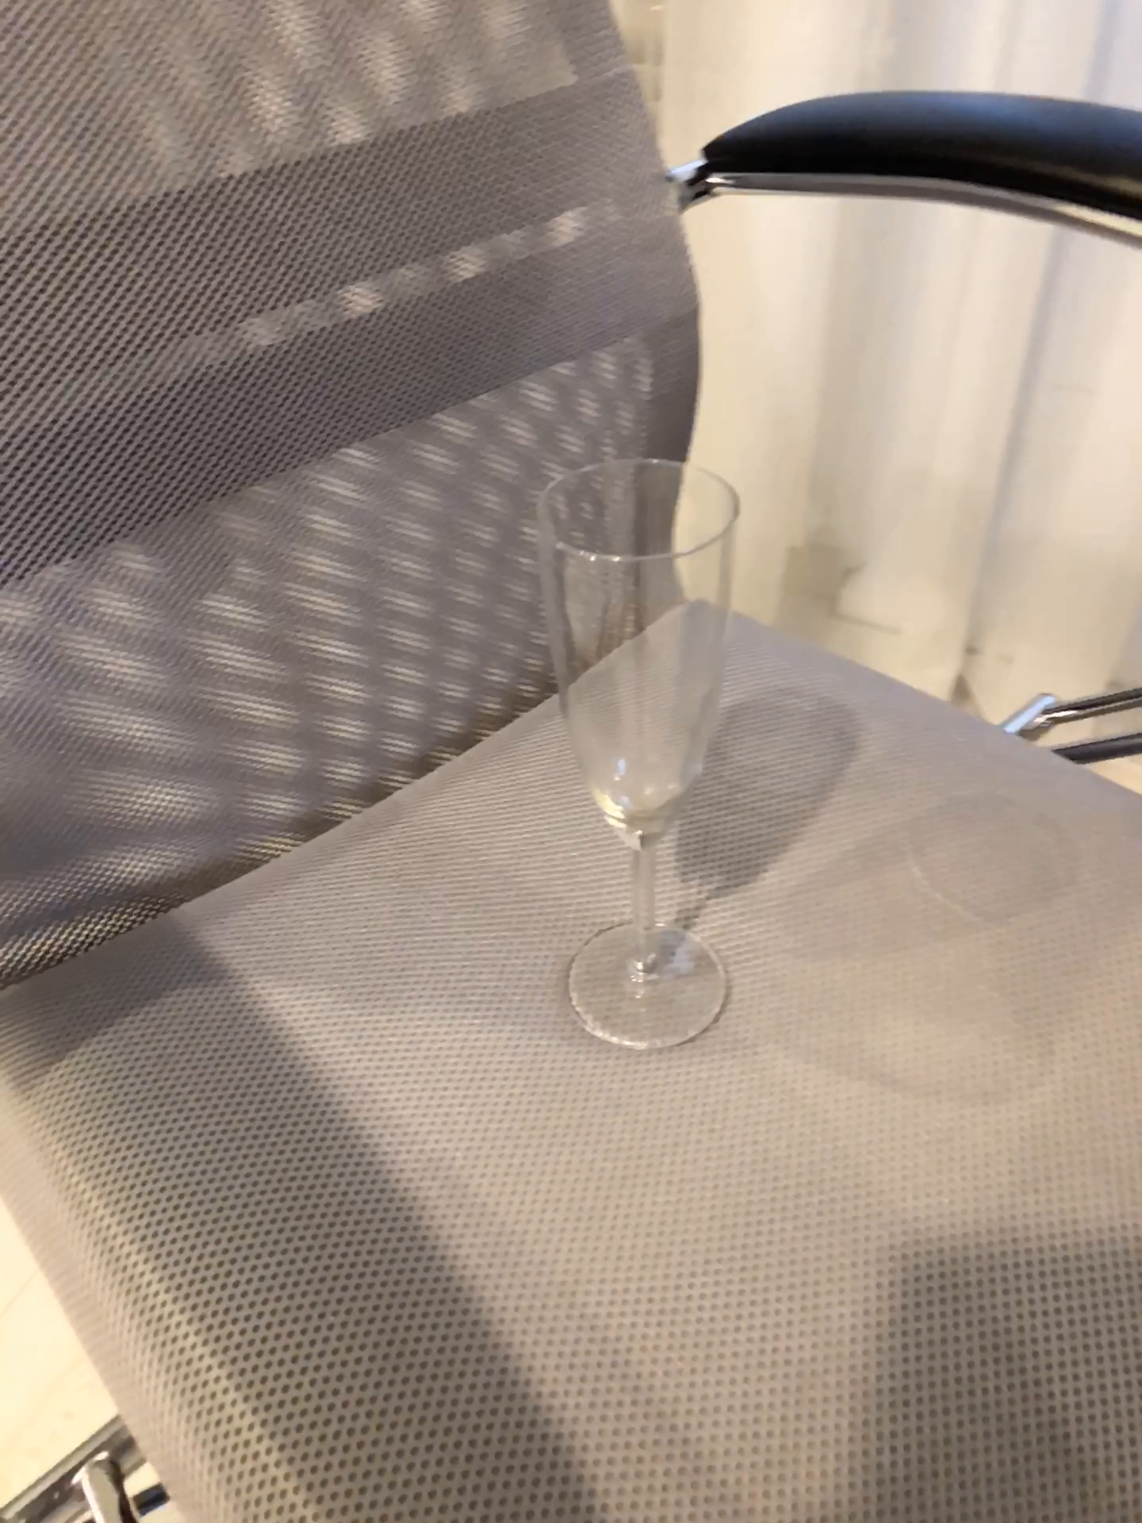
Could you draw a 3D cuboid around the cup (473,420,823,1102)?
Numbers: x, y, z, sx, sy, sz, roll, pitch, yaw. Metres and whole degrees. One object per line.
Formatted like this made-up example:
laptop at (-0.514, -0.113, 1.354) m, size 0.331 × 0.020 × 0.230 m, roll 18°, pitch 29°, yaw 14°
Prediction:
cup at (0.027, 0.009, 0.444) m, size 0.075 × 0.228 × 0.075 m, roll -2°, pitch 40°, yaw 2°
